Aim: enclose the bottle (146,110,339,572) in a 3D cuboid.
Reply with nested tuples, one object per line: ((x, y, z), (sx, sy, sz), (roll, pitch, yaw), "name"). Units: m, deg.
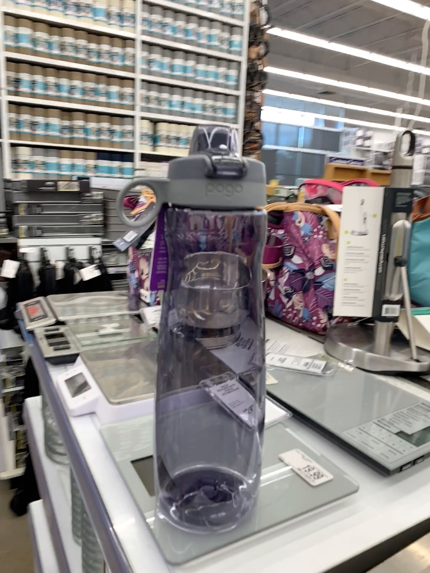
((0.009, 0.038, 0.342), (0.100, 0.309, 0.100), (2, 12, -1), "bottle")
